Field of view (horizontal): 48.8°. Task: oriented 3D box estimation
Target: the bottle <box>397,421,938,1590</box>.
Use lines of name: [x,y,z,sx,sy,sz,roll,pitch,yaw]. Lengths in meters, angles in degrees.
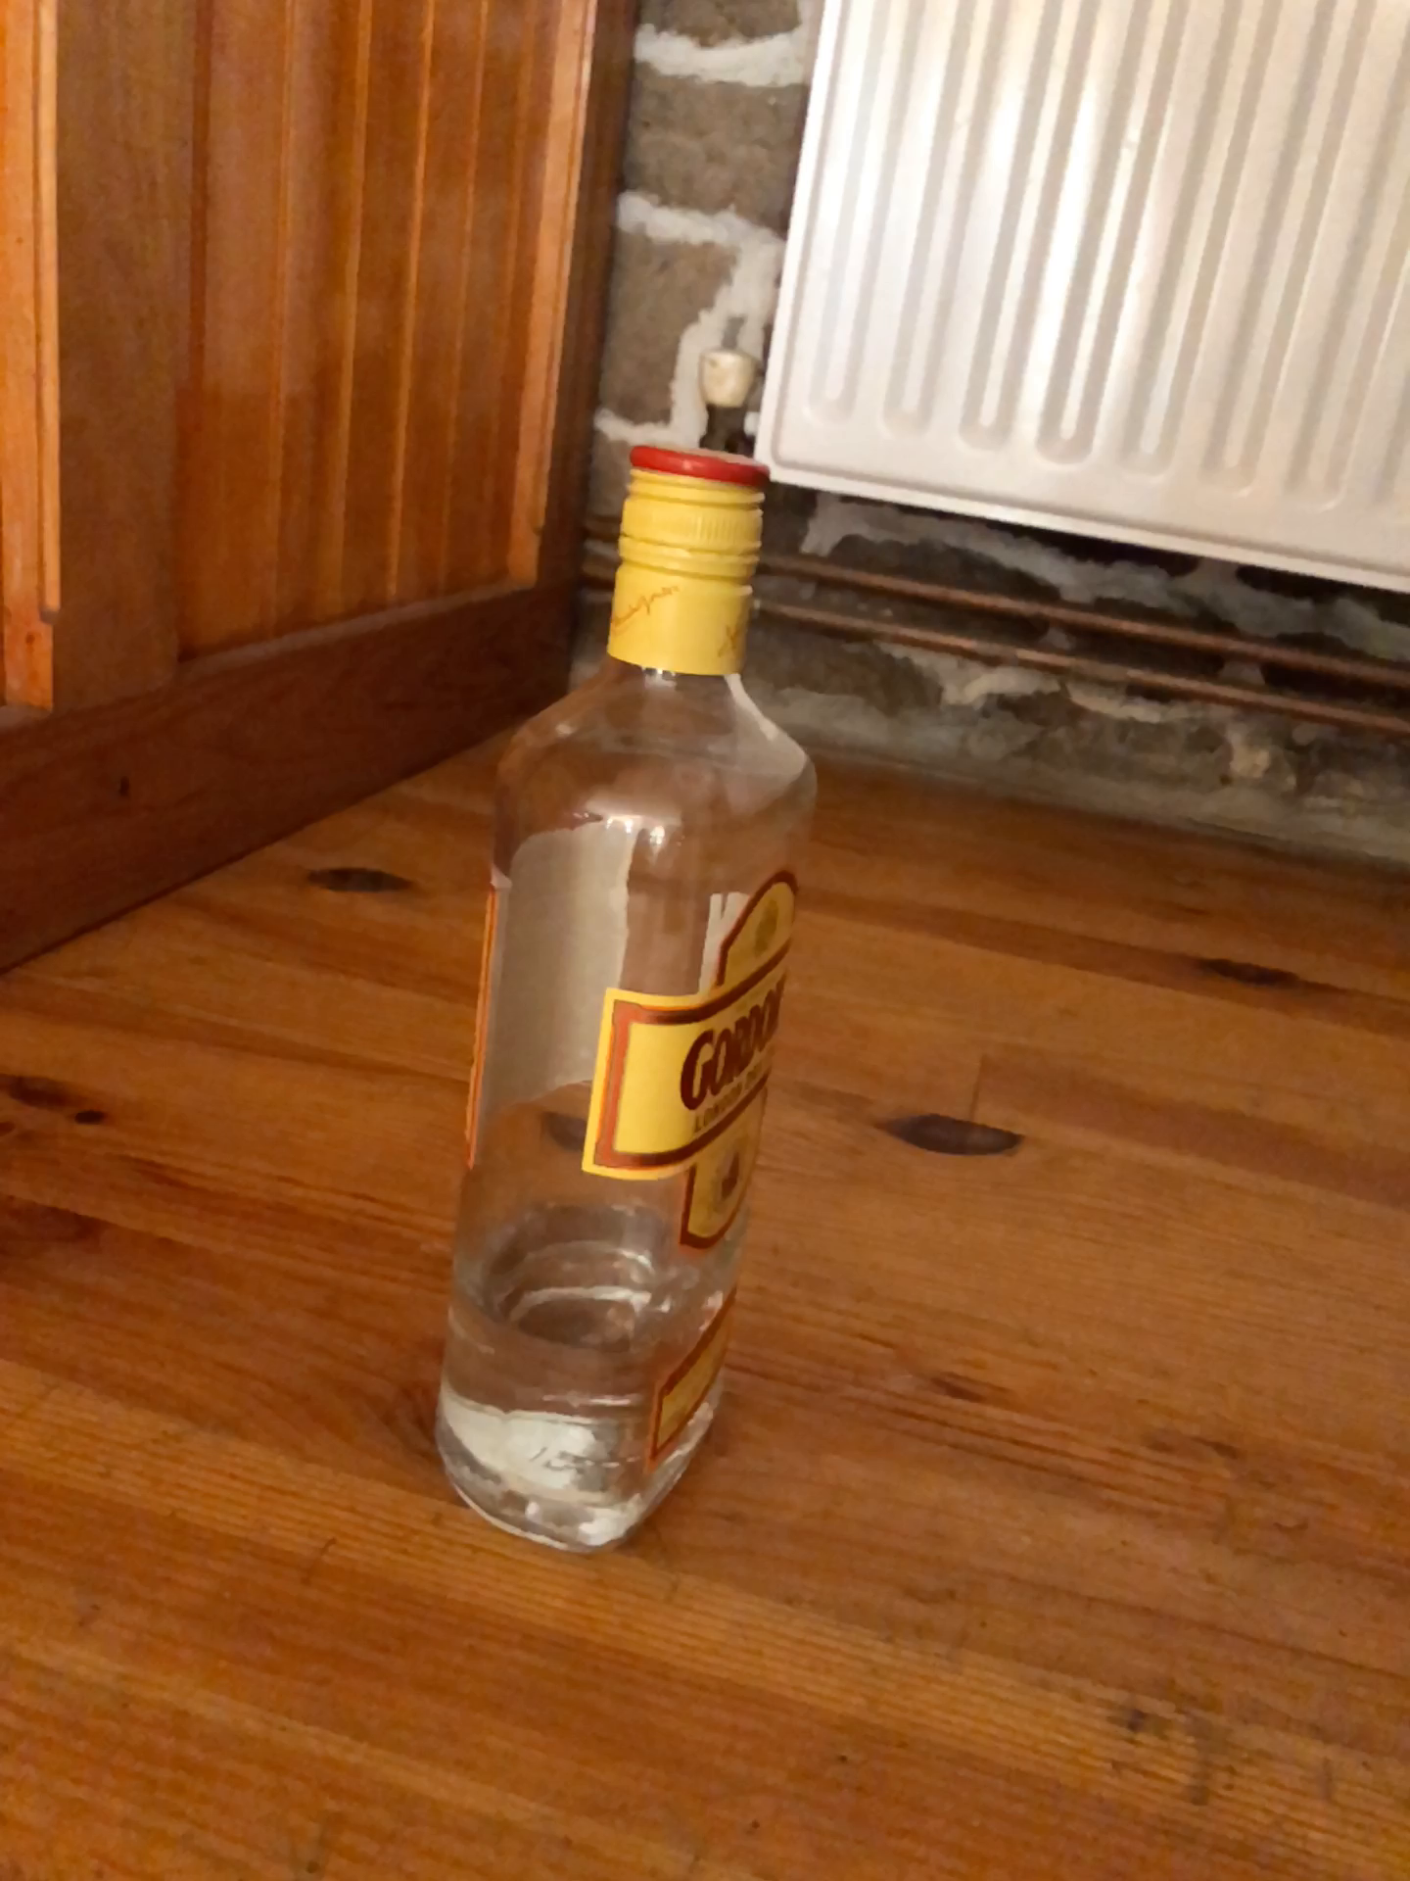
bottle: [-0.010,0.012,0.353,0.060,0.239,0.091,15,21,18]
